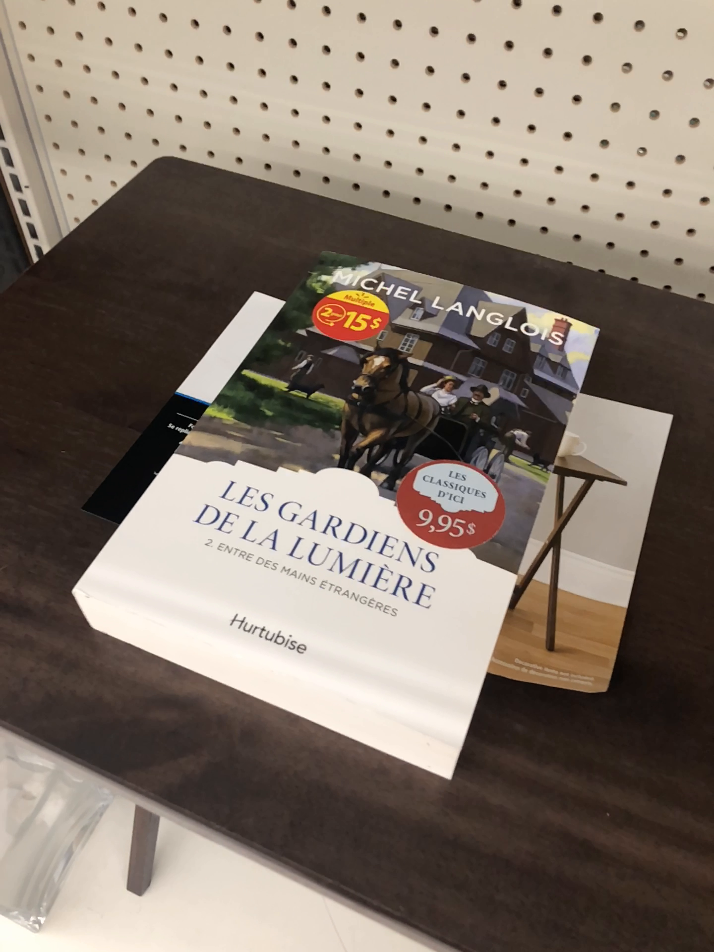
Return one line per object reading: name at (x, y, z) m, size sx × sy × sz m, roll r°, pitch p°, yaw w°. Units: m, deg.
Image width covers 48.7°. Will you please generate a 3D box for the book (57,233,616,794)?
book at (0.009, -0.008, 0.352) m, size 0.158 × 0.039 × 0.235 m, roll 19°, pitch 53°, yaw 12°
